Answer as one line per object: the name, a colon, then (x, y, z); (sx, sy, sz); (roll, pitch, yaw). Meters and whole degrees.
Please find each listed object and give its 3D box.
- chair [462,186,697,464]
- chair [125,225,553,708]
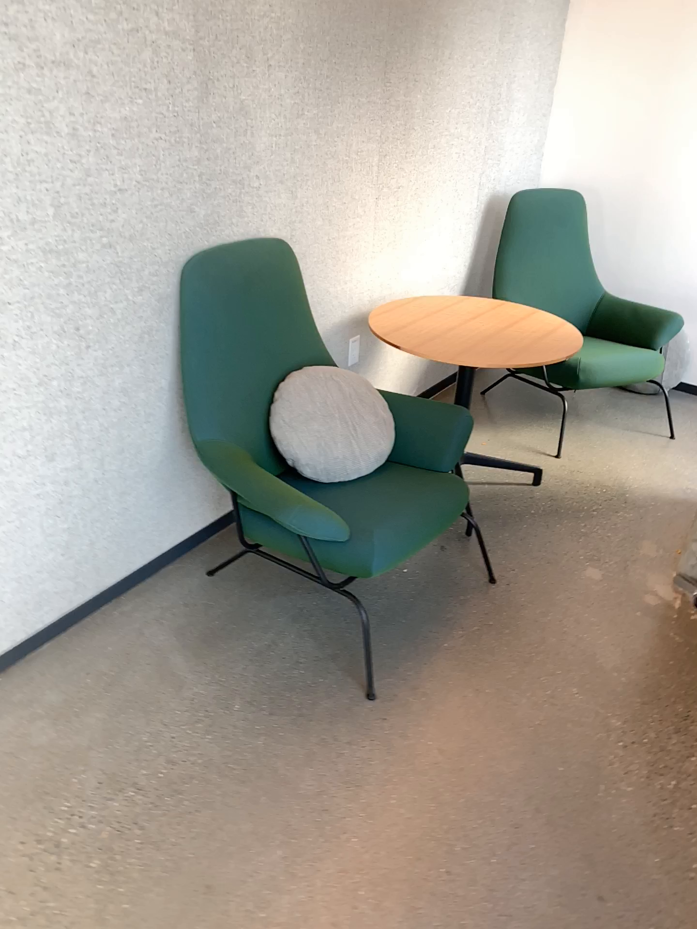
chair: (1.048, -0.668, 3.213); (0.650, 1.014, 0.754); (-9, 30, -21)
chair: (-0.035, -0.078, 2.066); (0.843, 0.994, 0.722); (22, 34, 33)
